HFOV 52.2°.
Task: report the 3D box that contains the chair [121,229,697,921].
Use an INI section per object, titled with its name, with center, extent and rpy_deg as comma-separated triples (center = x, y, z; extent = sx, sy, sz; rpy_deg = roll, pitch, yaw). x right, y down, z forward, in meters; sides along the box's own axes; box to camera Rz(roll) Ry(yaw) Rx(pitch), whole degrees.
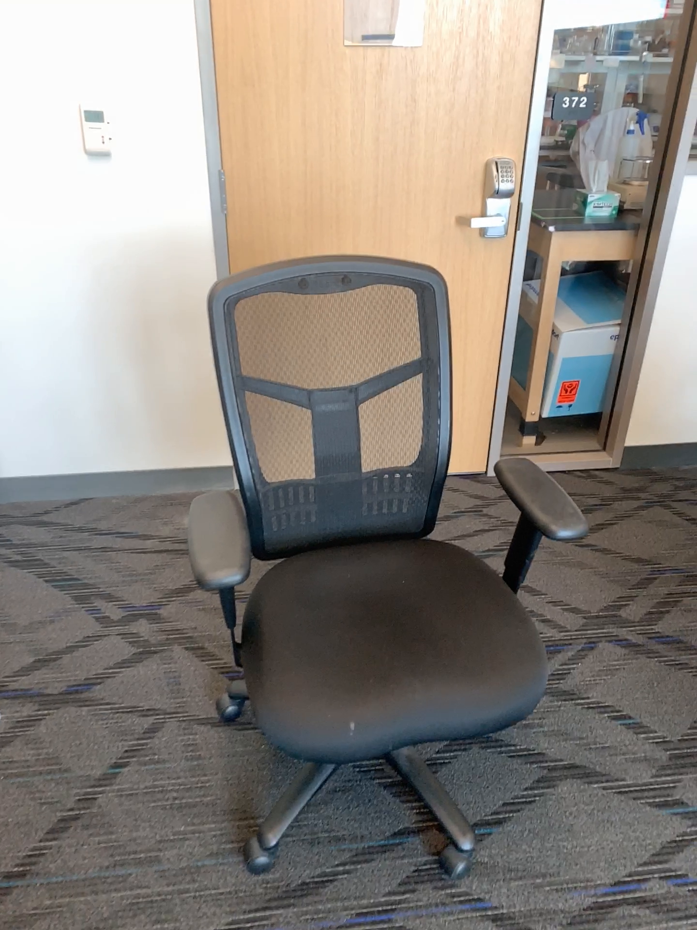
[chair]
center = 0.036, 0.148, 1.334
extent = 0.660, 0.992, 0.726
rpy_deg = -3, 29, -7
